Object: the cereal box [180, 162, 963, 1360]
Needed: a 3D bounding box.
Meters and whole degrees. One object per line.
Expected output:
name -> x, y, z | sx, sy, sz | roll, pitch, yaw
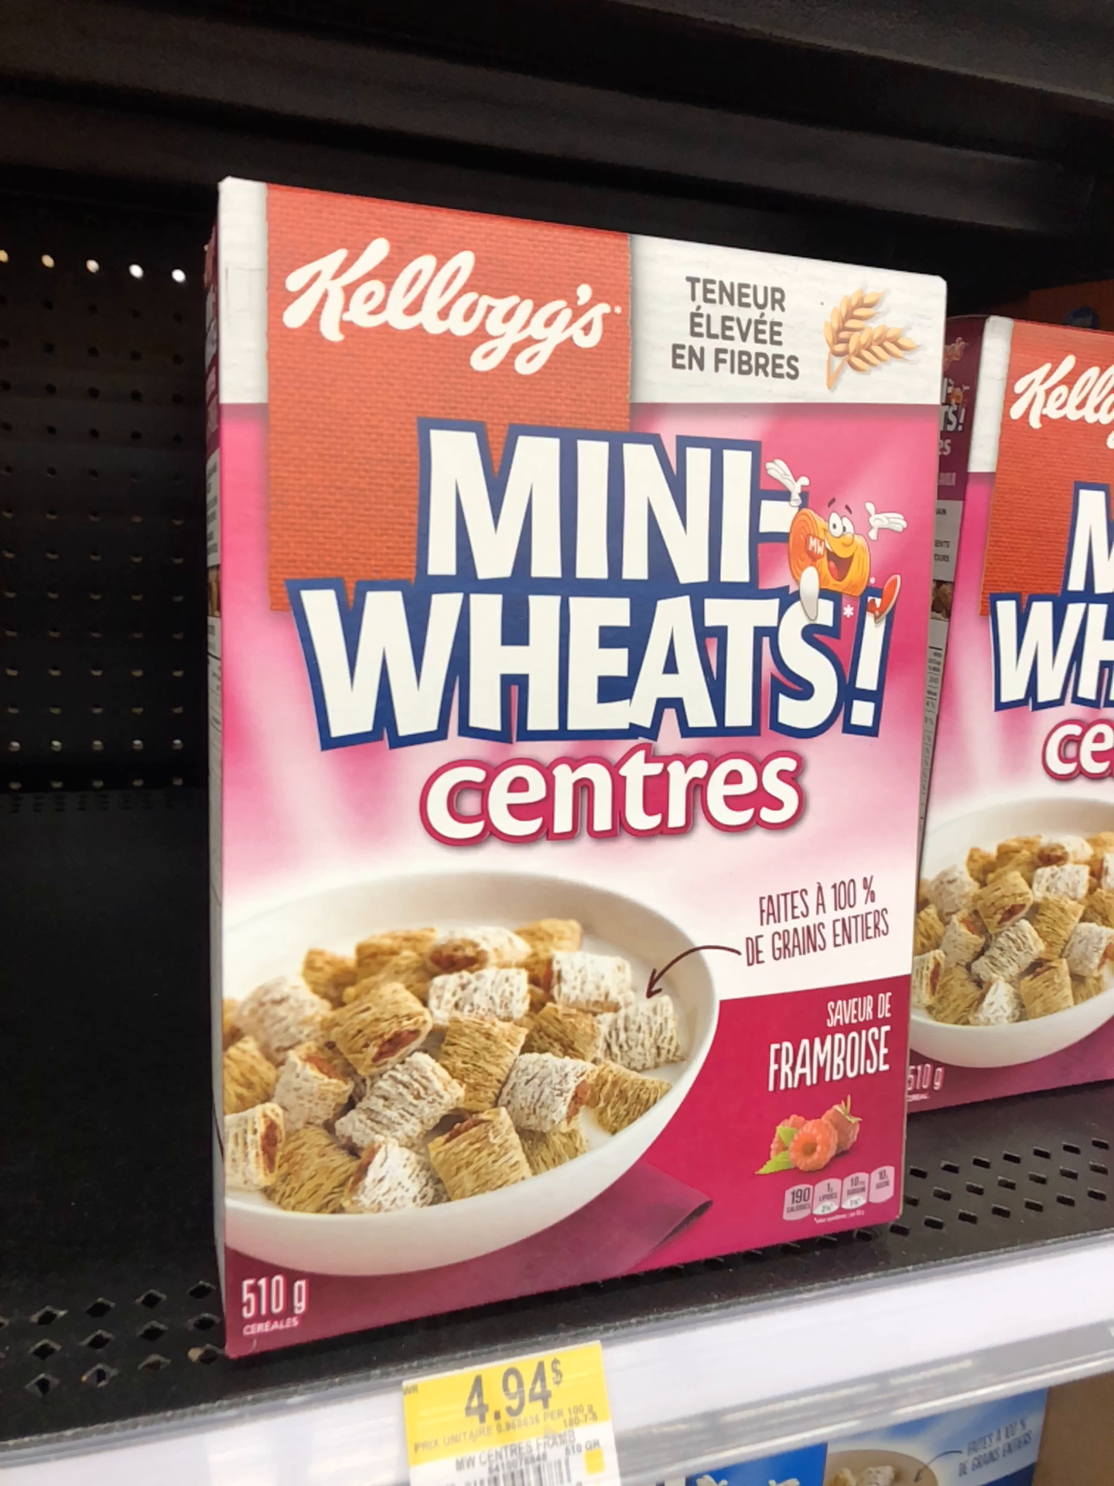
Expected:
cereal box -> 0.002, 0.004, 0.331 | 0.190, 0.259, 0.070 | -2, 7, -22
